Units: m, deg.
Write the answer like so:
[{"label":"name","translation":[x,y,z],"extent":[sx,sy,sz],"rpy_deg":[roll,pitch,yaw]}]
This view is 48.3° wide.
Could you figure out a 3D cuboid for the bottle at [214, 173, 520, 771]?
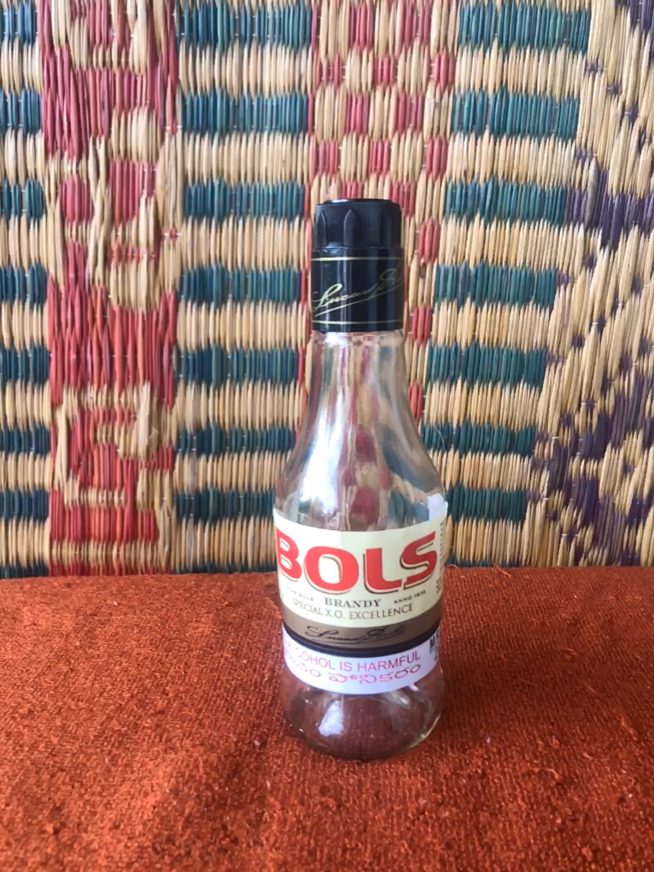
[{"label":"bottle","translation":[0.010,0.009,0.217],"extent":[0.070,0.159,0.060],"rpy_deg":[1,15,3]}]
